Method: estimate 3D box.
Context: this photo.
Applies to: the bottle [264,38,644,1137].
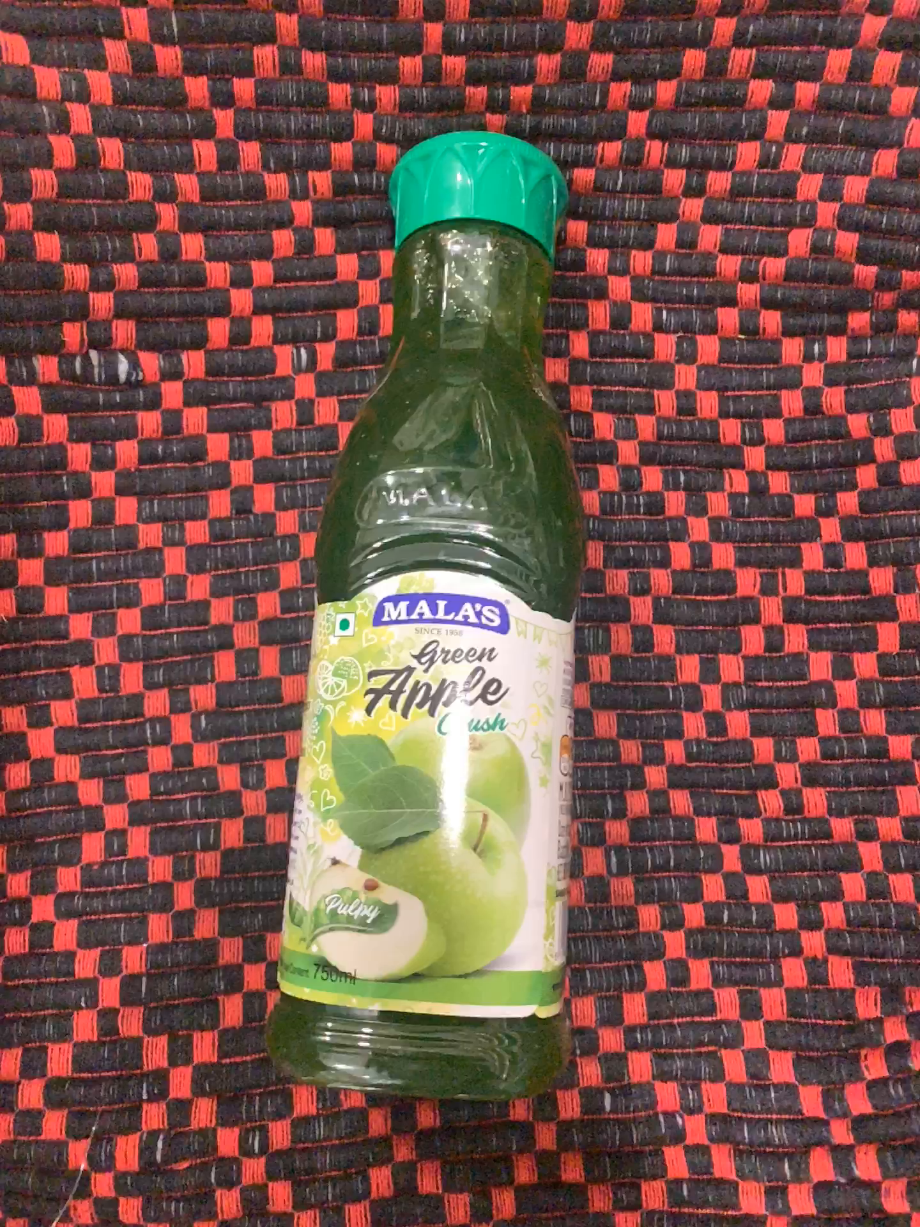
[{"bbox_3d":[0.004,-0.015,0.245,0.070,0.070,0.250,4,75,-2],"label":"bottle"}]
